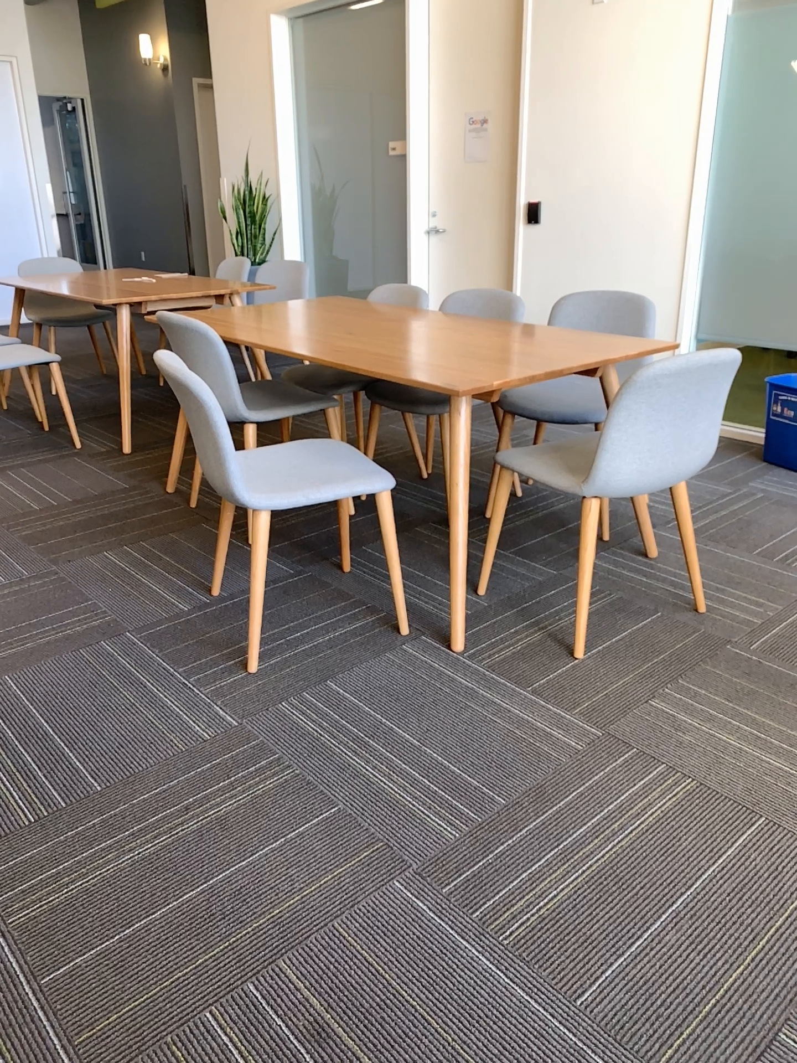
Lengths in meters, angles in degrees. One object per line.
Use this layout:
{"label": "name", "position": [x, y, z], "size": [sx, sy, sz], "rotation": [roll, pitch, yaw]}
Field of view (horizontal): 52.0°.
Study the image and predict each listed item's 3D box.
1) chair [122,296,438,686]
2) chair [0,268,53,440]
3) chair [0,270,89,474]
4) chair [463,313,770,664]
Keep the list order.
{"label": "chair", "position": [-0.346, -0.183, 2.291], "size": [0.630, 0.816, 0.764], "rotation": [-10, 24, -22]}
{"label": "chair", "position": [-2.289, -0.972, 4.380], "size": [0.531, 0.776, 0.572], "rotation": [-19, 28, -39]}
{"label": "chair", "position": [-1.900, -0.781, 3.843], "size": [0.570, 0.796, 0.593], "rotation": [-17, 27, -35]}
{"label": "chair", "position": [0.574, -0.165, 2.299], "size": [0.560, 0.776, 0.533], "rotation": [-14, 25, -30]}
